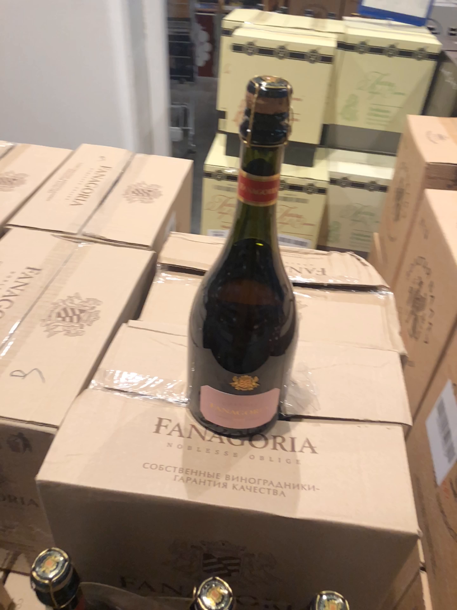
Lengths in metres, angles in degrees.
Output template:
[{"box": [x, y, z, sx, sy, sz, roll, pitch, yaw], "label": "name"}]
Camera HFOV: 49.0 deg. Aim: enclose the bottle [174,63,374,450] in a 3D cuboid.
[{"box": [0.021, -0.019, 0.406, 0.110, 0.298, 0.101, 2, 38, -1], "label": "bottle"}]
